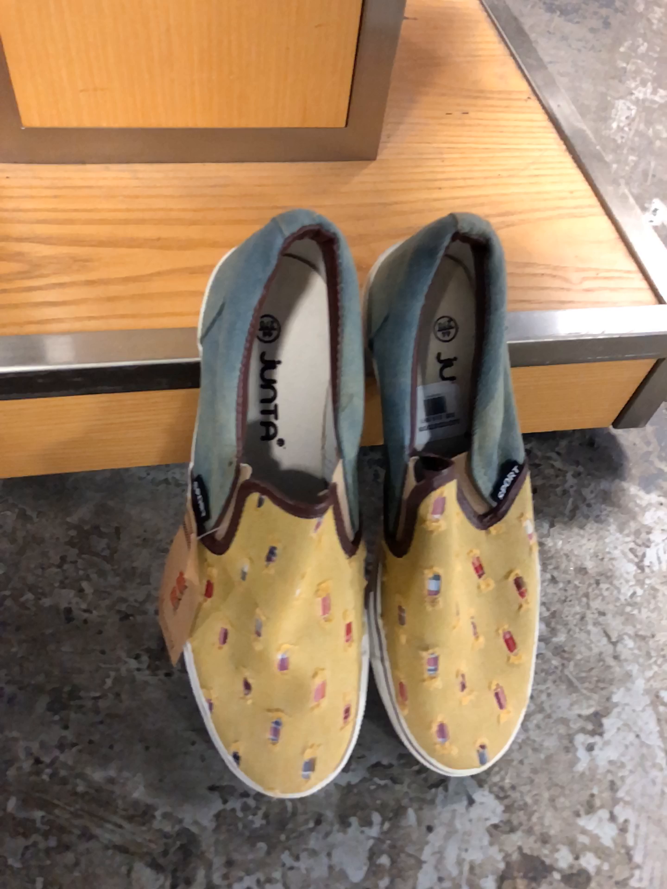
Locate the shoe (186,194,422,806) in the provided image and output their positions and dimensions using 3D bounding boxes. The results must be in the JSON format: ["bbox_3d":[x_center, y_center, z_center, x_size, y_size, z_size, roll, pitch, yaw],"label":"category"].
[{"bbox_3d":[-0.022,0.022,0.365,0.090,0.259,0.120,1,11,-7],"label":"shoe"}]

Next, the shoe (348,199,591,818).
[{"bbox_3d":[0.060,0.028,0.373,0.090,0.279,0.100,-2,11,-4],"label":"shoe"}]
